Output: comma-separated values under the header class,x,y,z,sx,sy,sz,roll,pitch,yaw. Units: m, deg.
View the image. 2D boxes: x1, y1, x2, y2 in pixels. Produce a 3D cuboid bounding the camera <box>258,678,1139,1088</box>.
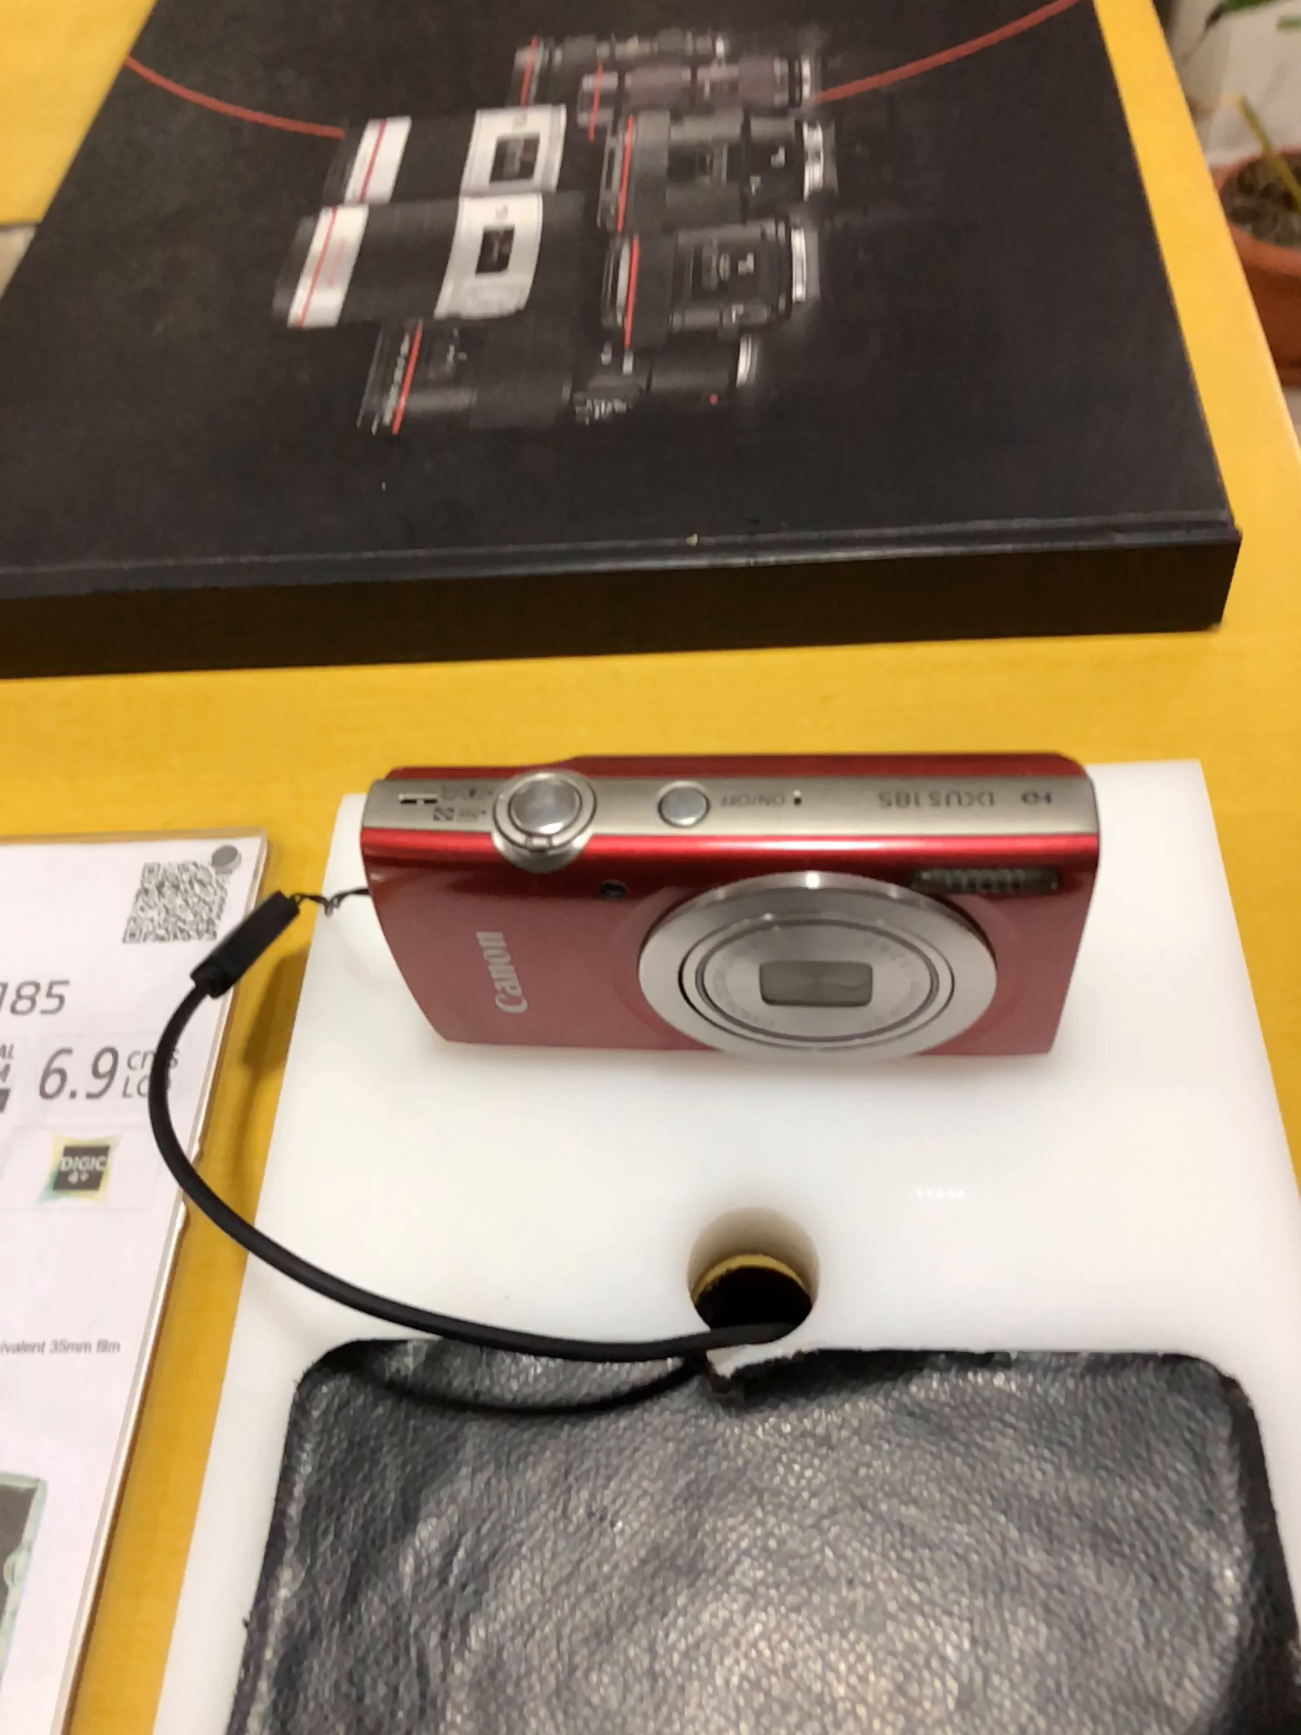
class,x,y,z,sx,sy,sz,roll,pitch,yaw
camera,0.007,0.004,0.192,0.100,0.050,0.030,0,55,7
